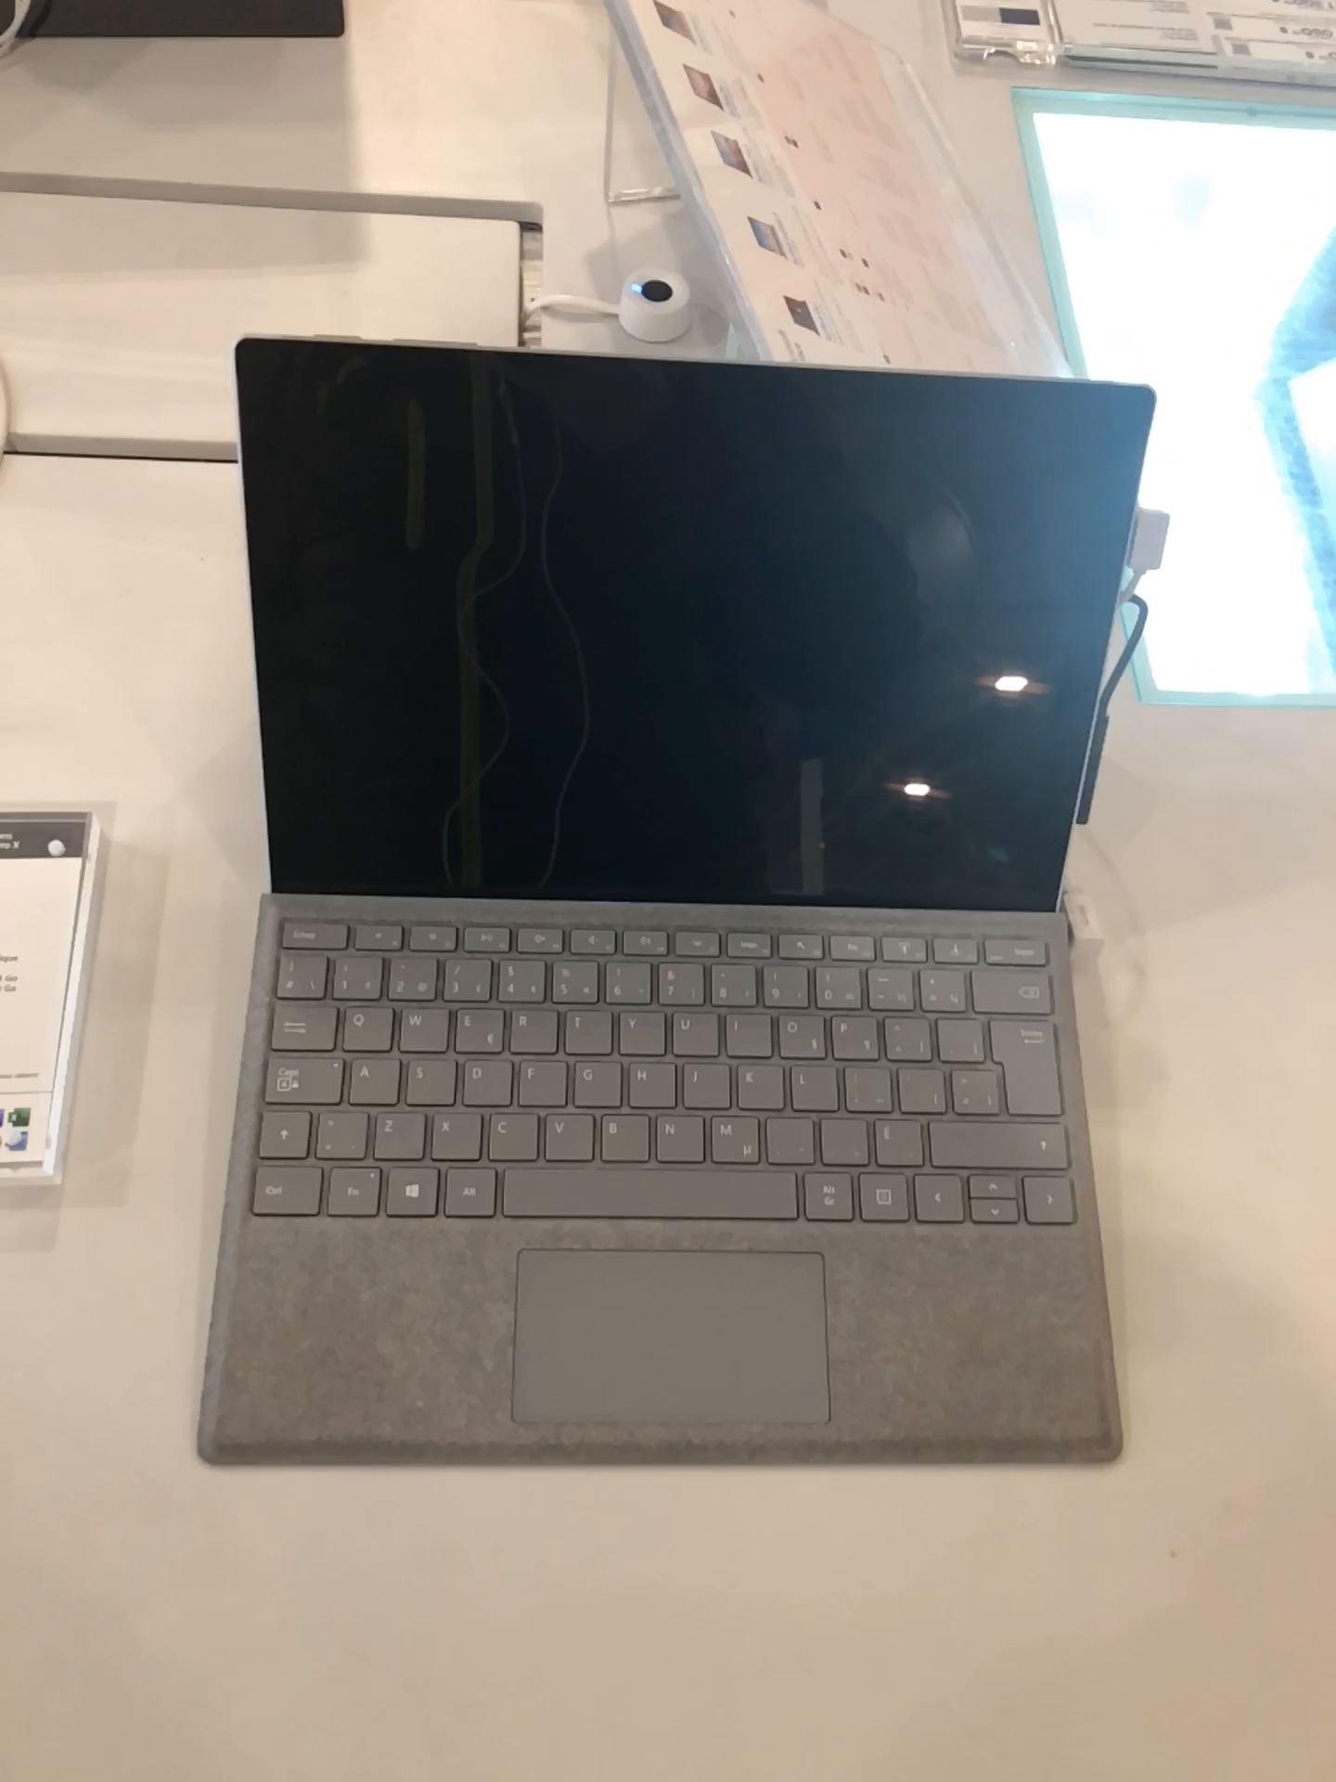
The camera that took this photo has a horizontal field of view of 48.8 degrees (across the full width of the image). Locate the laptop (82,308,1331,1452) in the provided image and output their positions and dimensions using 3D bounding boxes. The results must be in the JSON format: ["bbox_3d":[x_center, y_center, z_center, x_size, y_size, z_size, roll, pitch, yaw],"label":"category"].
[{"bbox_3d":[0.008,0.002,0.450,0.278,0.148,0.297,2,66,-4],"label":"laptop"}]
